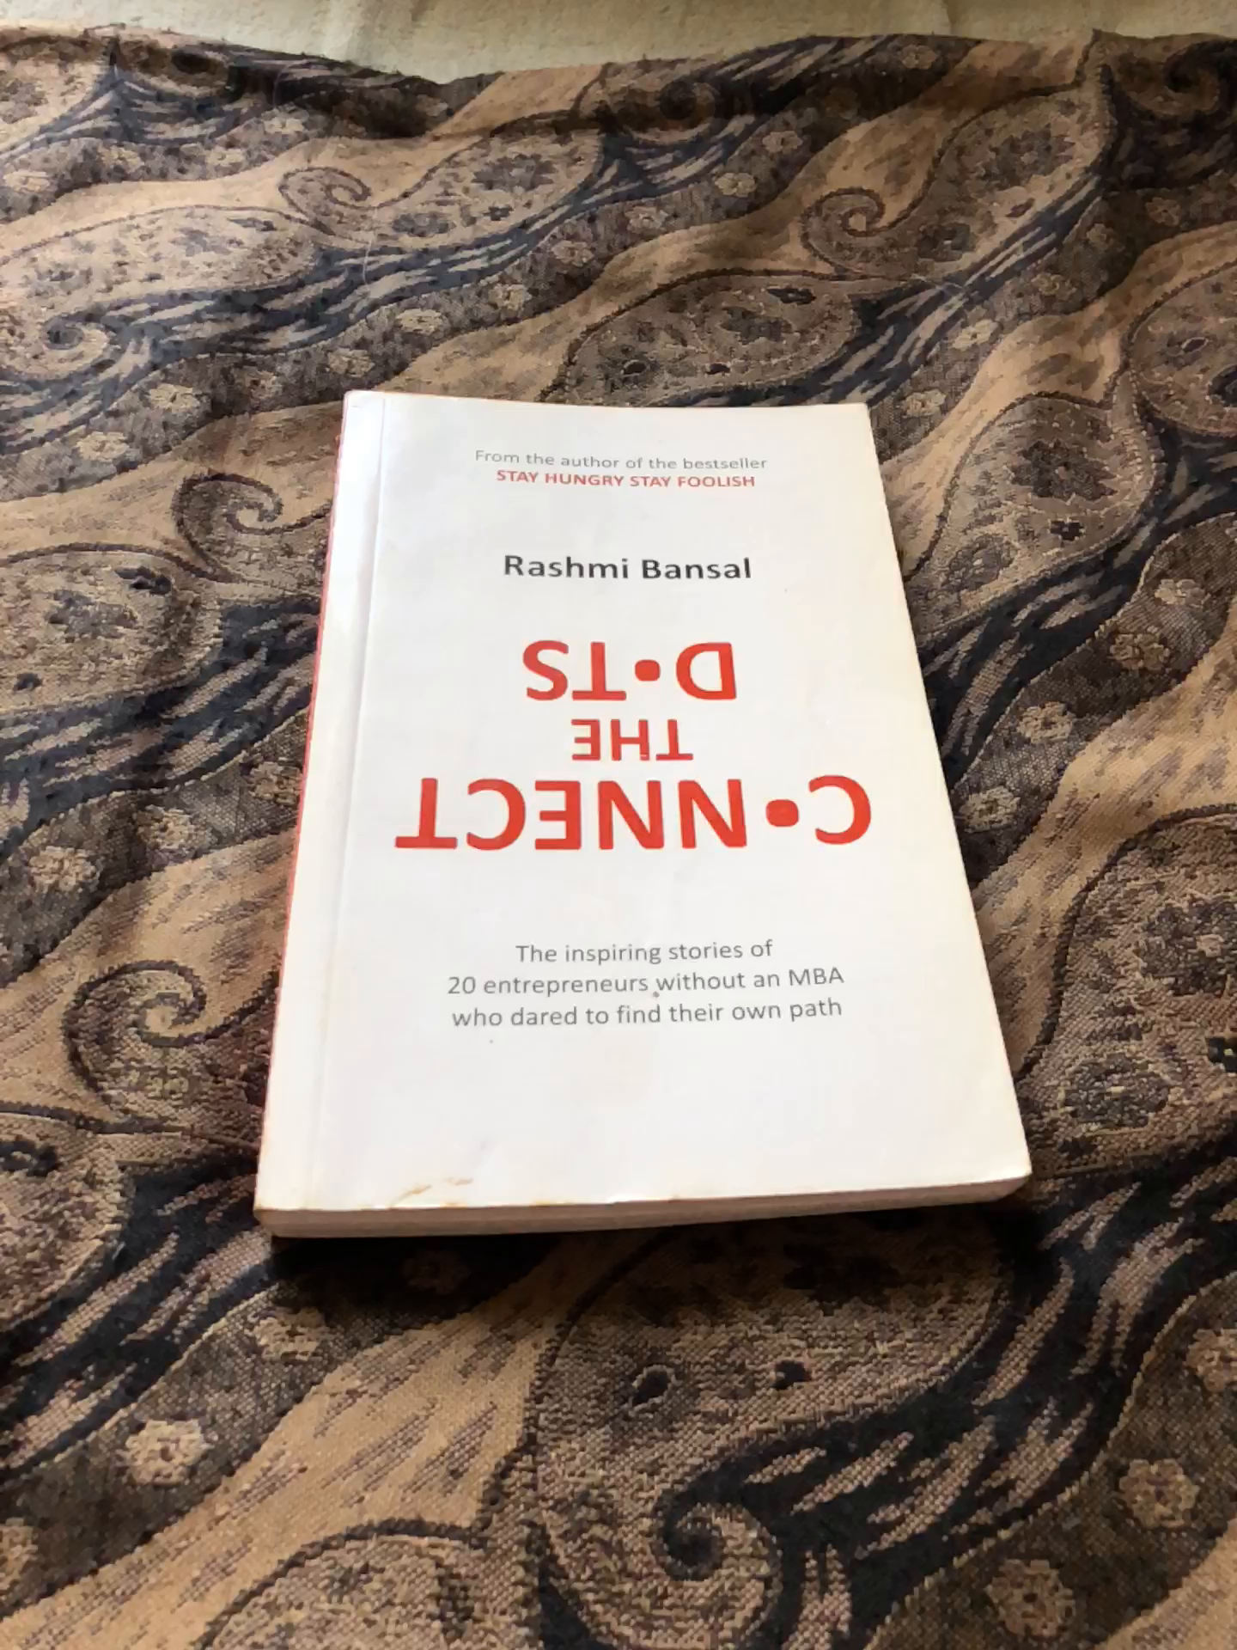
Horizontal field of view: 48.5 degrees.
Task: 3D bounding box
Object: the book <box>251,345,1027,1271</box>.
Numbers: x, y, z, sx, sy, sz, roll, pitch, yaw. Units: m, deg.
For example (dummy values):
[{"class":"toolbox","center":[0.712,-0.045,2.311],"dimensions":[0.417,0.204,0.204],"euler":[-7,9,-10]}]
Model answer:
[{"class":"book","center":[0.000,-0.019,0.308],"dimensions":[0.130,0.040,0.221],"euler":[-2,56,-1]}]
